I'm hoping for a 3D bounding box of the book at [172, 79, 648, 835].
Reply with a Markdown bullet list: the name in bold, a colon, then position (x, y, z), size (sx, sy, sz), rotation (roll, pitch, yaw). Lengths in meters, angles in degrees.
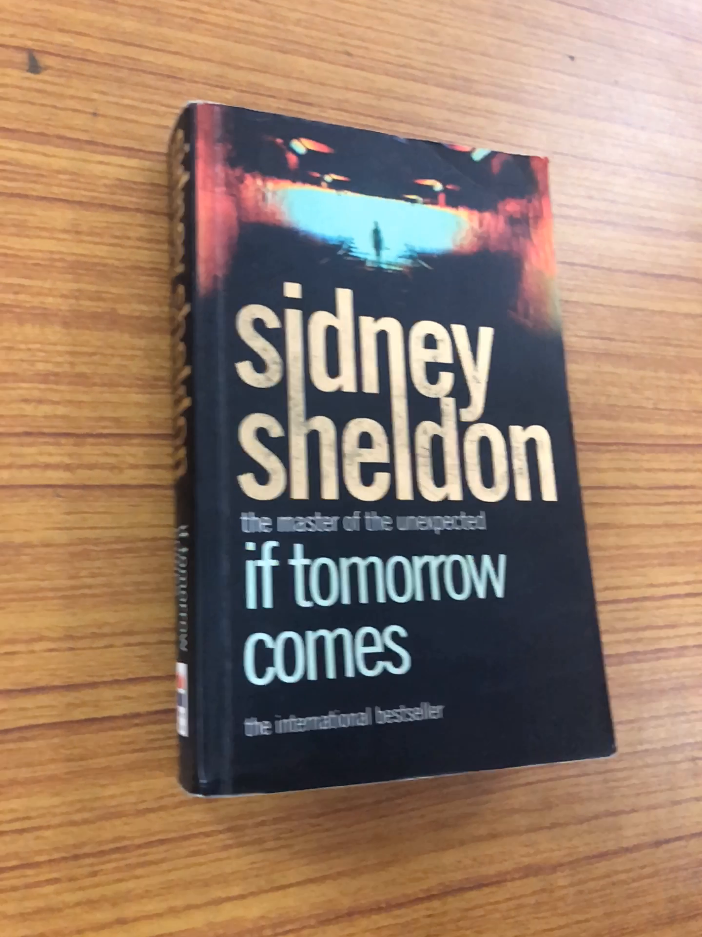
- **book**: position (0.013, -0.006, 0.215), size (0.114, 0.034, 0.176), rotation (1, 78, -21)
